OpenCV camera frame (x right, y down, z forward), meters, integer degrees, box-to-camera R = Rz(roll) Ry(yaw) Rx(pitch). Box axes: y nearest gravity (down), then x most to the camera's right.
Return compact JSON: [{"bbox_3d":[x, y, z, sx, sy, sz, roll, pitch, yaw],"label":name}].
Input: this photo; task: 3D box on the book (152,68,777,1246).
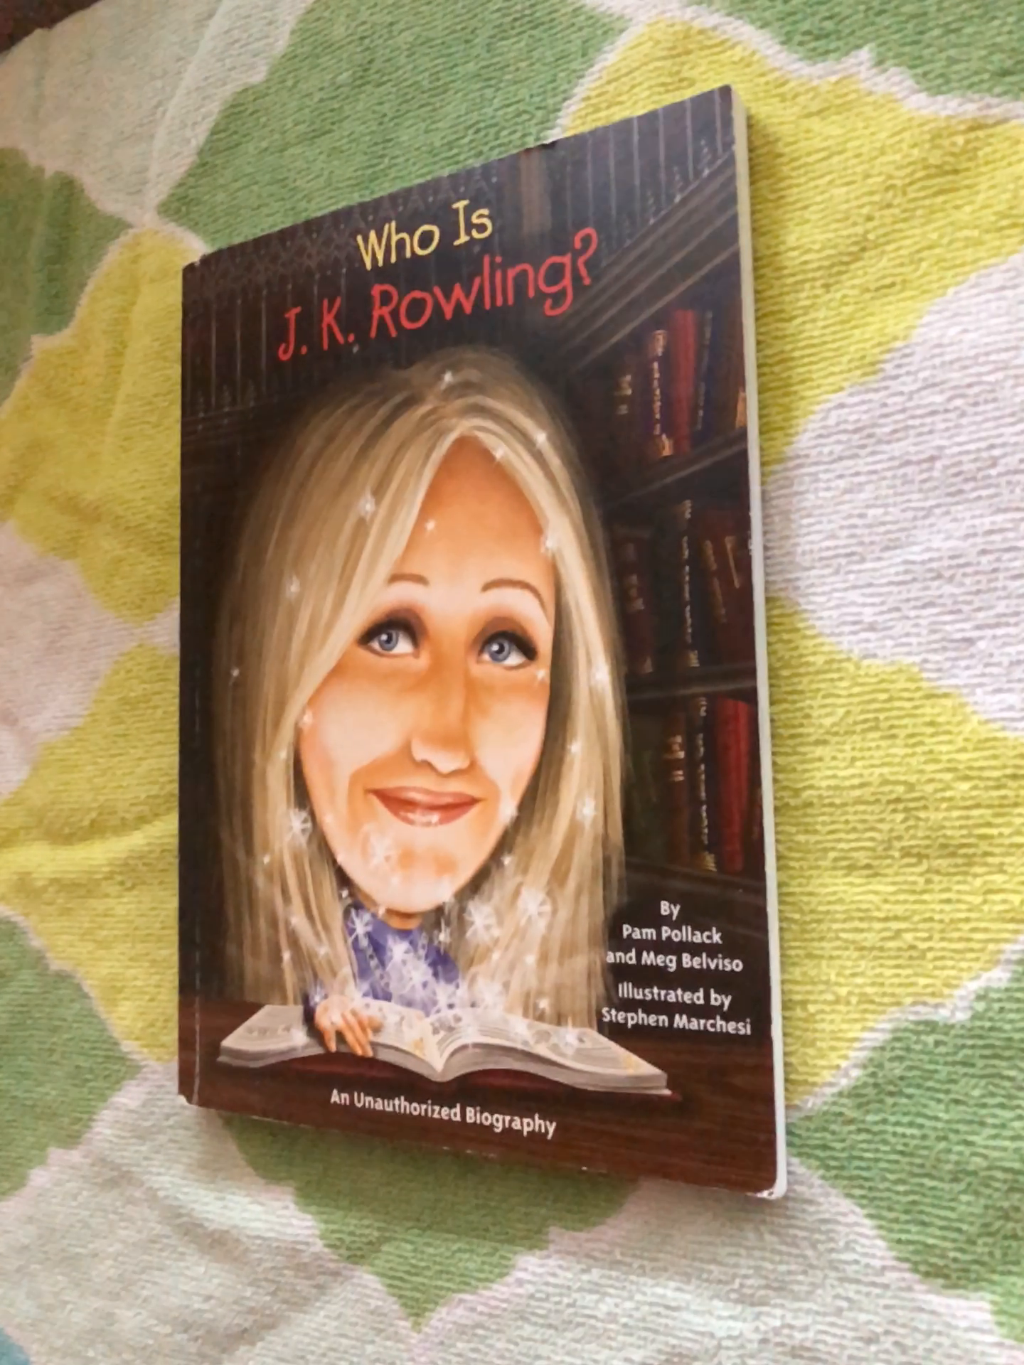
[{"bbox_3d":[-0.017,-0.005,0.215,0.126,0.012,0.187,-4,84,29],"label":"book"}]
